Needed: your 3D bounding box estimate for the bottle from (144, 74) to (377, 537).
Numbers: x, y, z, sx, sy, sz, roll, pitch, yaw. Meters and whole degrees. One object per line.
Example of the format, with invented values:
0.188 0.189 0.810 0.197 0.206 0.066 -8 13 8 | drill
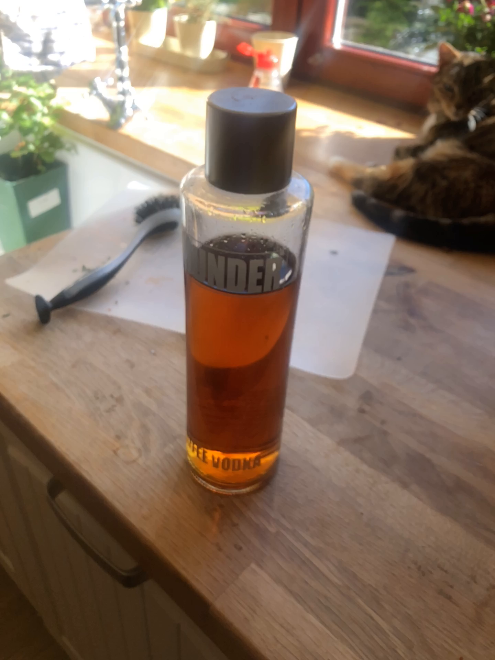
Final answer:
-0.002 0.000 0.352 0.081 0.278 0.080 3 37 -2 | bottle
